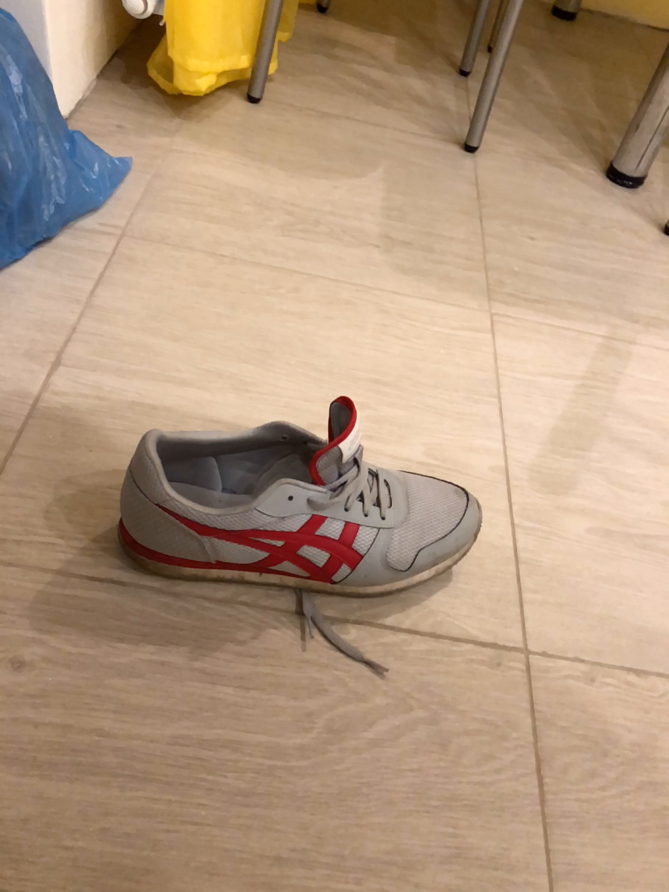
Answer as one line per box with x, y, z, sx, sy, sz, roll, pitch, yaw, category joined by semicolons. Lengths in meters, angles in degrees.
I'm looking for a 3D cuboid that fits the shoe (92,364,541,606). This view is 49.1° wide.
-0.019;0.036;0.563;0.298;0.129;0.111;4;48;-10;shoe
